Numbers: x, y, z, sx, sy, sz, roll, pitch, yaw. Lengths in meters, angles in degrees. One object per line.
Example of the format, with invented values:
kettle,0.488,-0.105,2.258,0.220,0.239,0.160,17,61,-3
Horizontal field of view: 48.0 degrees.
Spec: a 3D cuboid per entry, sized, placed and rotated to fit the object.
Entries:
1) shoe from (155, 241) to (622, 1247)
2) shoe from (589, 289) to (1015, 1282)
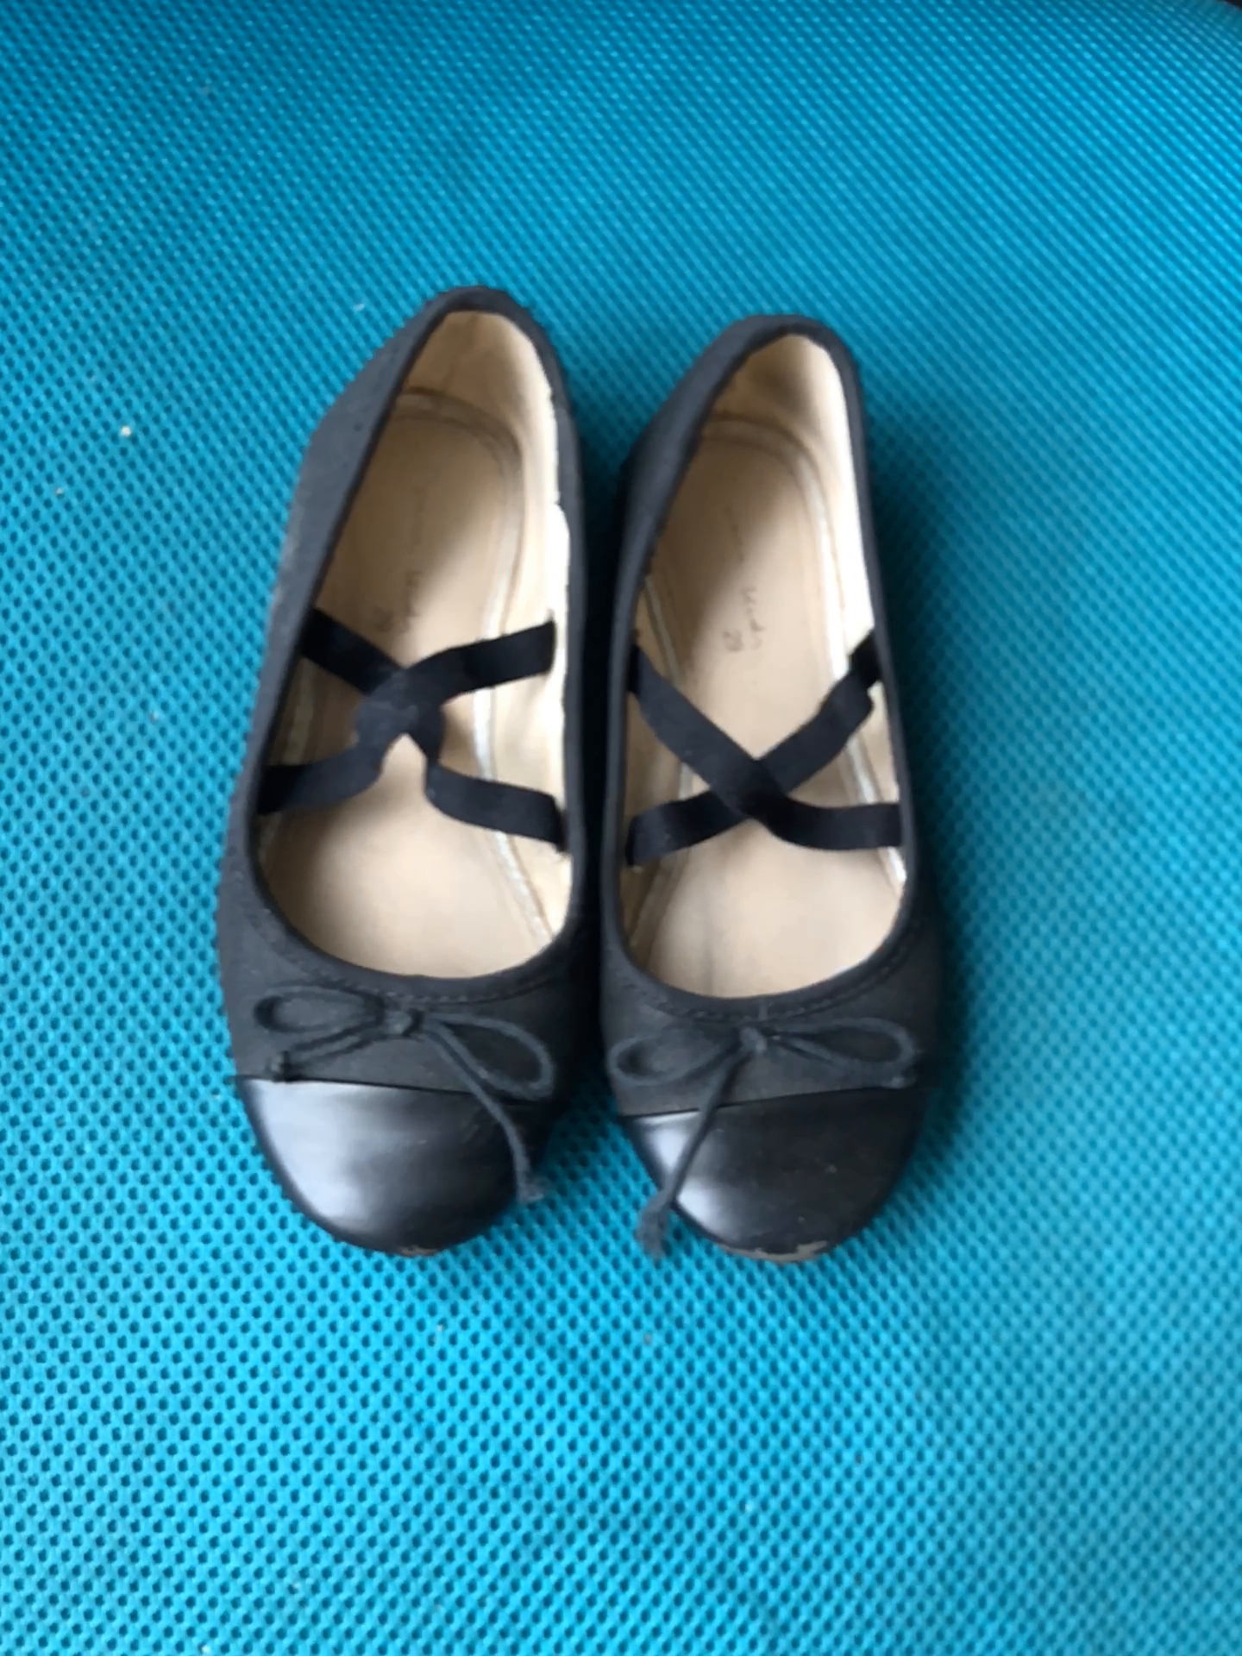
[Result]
shoe,-0.042,-0.017,0.287,0.080,0.050,0.194,1,78,-5
shoe,0.031,-0.010,0.287,0.068,0.050,0.190,-1,79,-5
